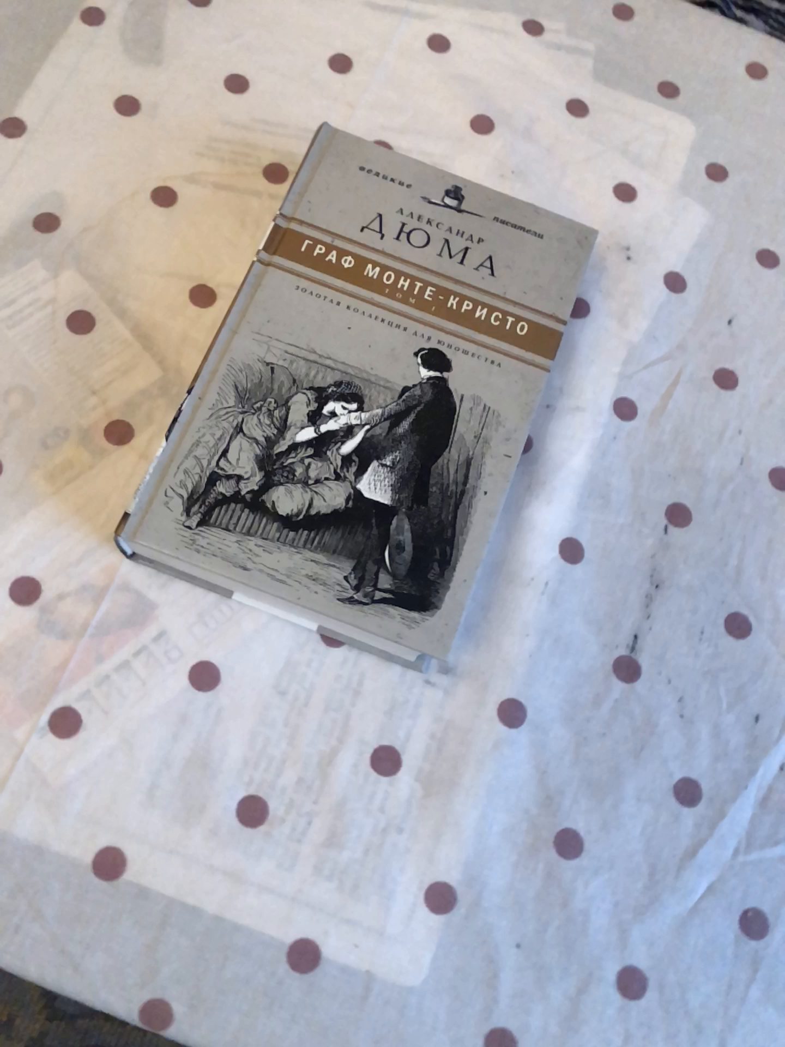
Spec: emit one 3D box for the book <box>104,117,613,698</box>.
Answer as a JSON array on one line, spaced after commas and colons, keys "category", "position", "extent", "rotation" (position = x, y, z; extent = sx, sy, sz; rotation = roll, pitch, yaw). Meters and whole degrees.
[{"category": "book", "position": [-0.006, -0.053, 0.359], "extent": [0.135, 0.040, 0.208], "rotation": [21, 72, 0]}]
